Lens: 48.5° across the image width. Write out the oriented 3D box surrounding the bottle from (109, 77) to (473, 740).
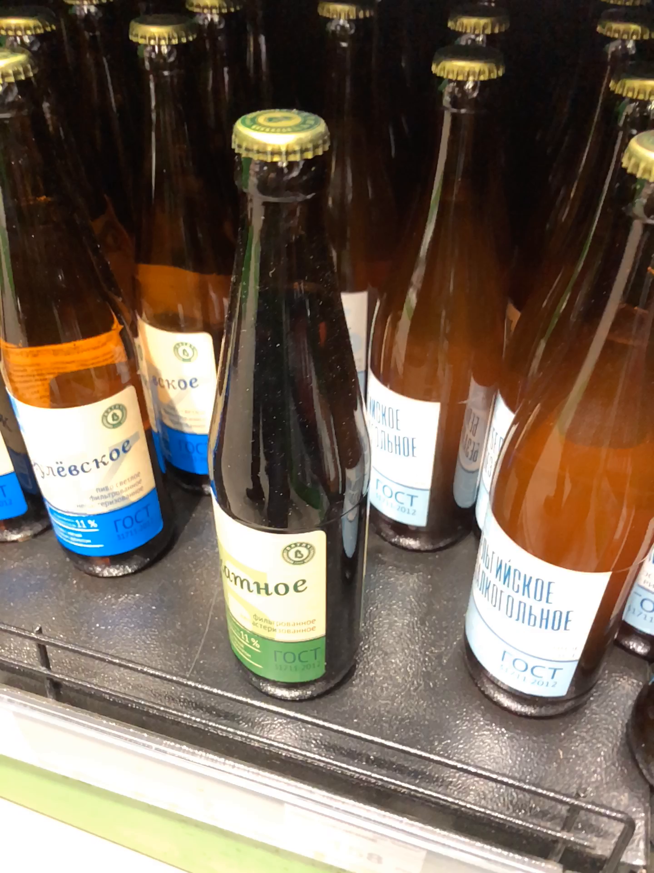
[{"bbox_3d":[-0.013,0.007,0.287,0.070,0.249,0.080,-26,47,-28],"label":"bottle"}]
